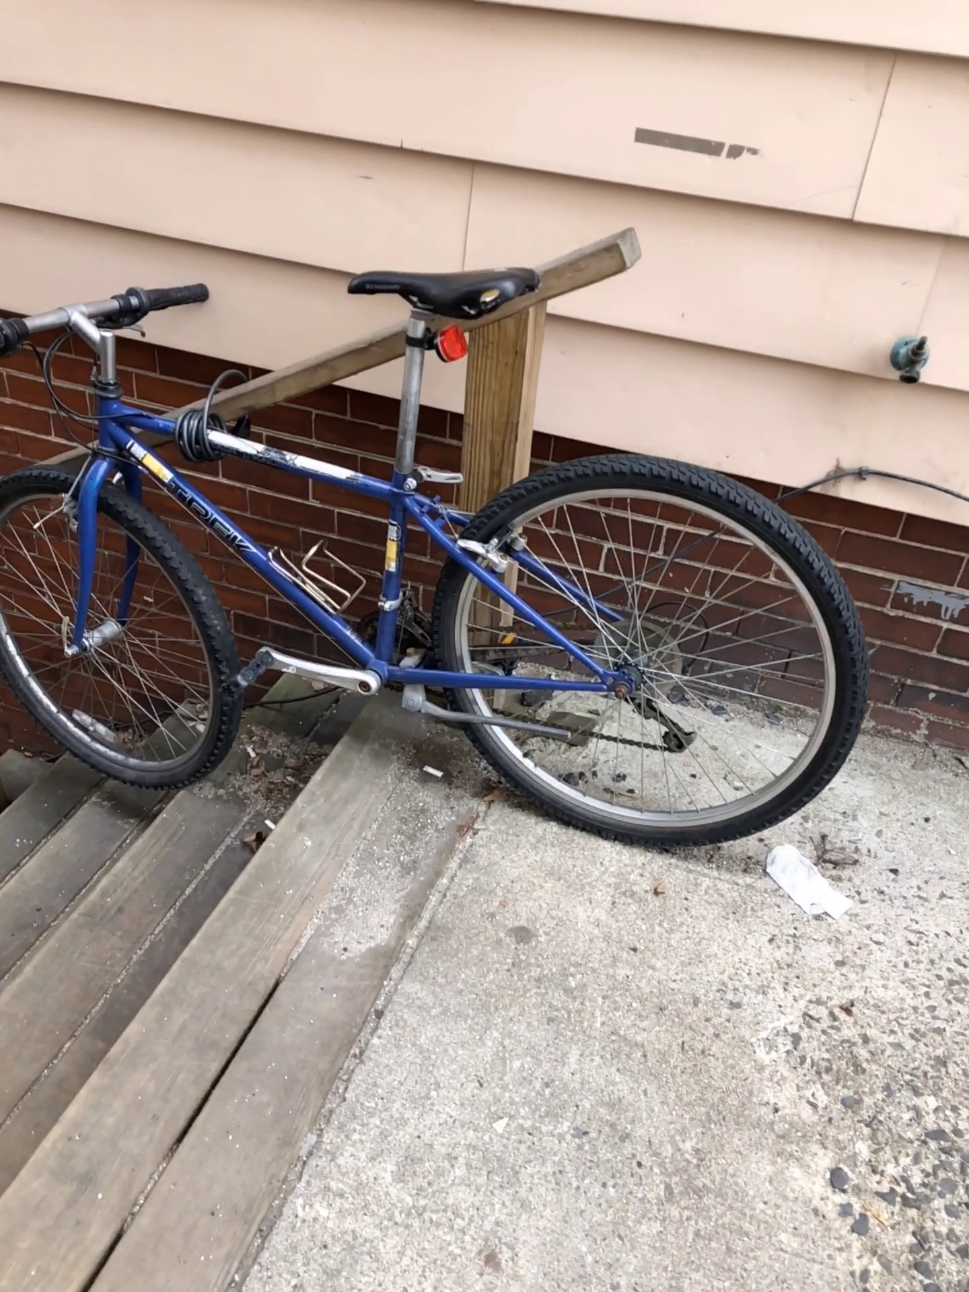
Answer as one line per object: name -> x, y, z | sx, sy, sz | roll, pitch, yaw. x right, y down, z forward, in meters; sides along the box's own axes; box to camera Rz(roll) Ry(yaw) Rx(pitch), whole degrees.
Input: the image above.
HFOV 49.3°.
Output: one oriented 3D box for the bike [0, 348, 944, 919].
bike -> -0.169, -0.112, 1.817 | 1.521, 0.619, 0.535 | 8, 33, 20
